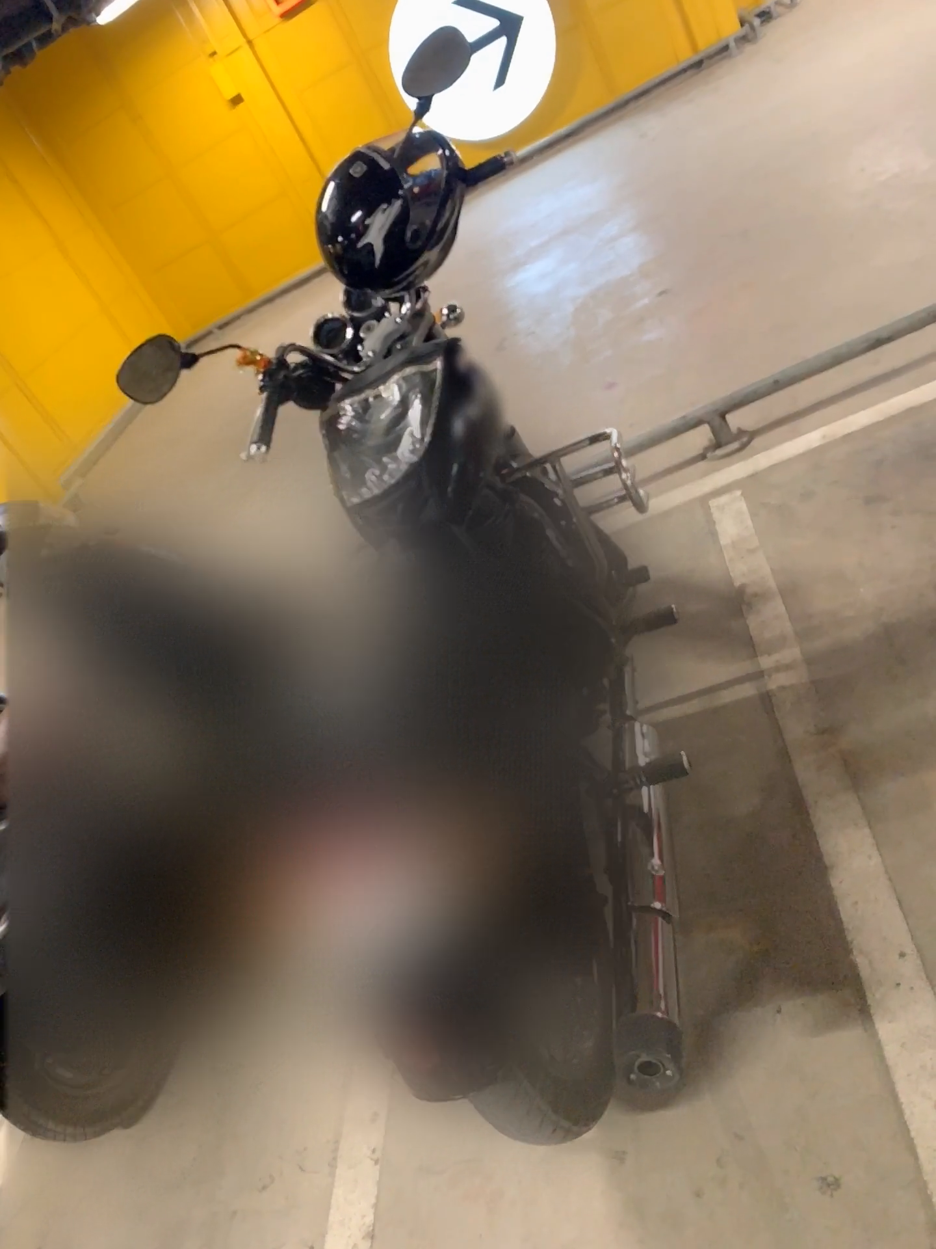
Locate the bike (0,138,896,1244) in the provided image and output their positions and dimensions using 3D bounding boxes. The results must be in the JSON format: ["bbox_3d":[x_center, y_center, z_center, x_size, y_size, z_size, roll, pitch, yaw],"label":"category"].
[{"bbox_3d":[-0.055,-0.125,2.069,0.829,1.228,2.086,-24,29,15],"label":"bike"}]
